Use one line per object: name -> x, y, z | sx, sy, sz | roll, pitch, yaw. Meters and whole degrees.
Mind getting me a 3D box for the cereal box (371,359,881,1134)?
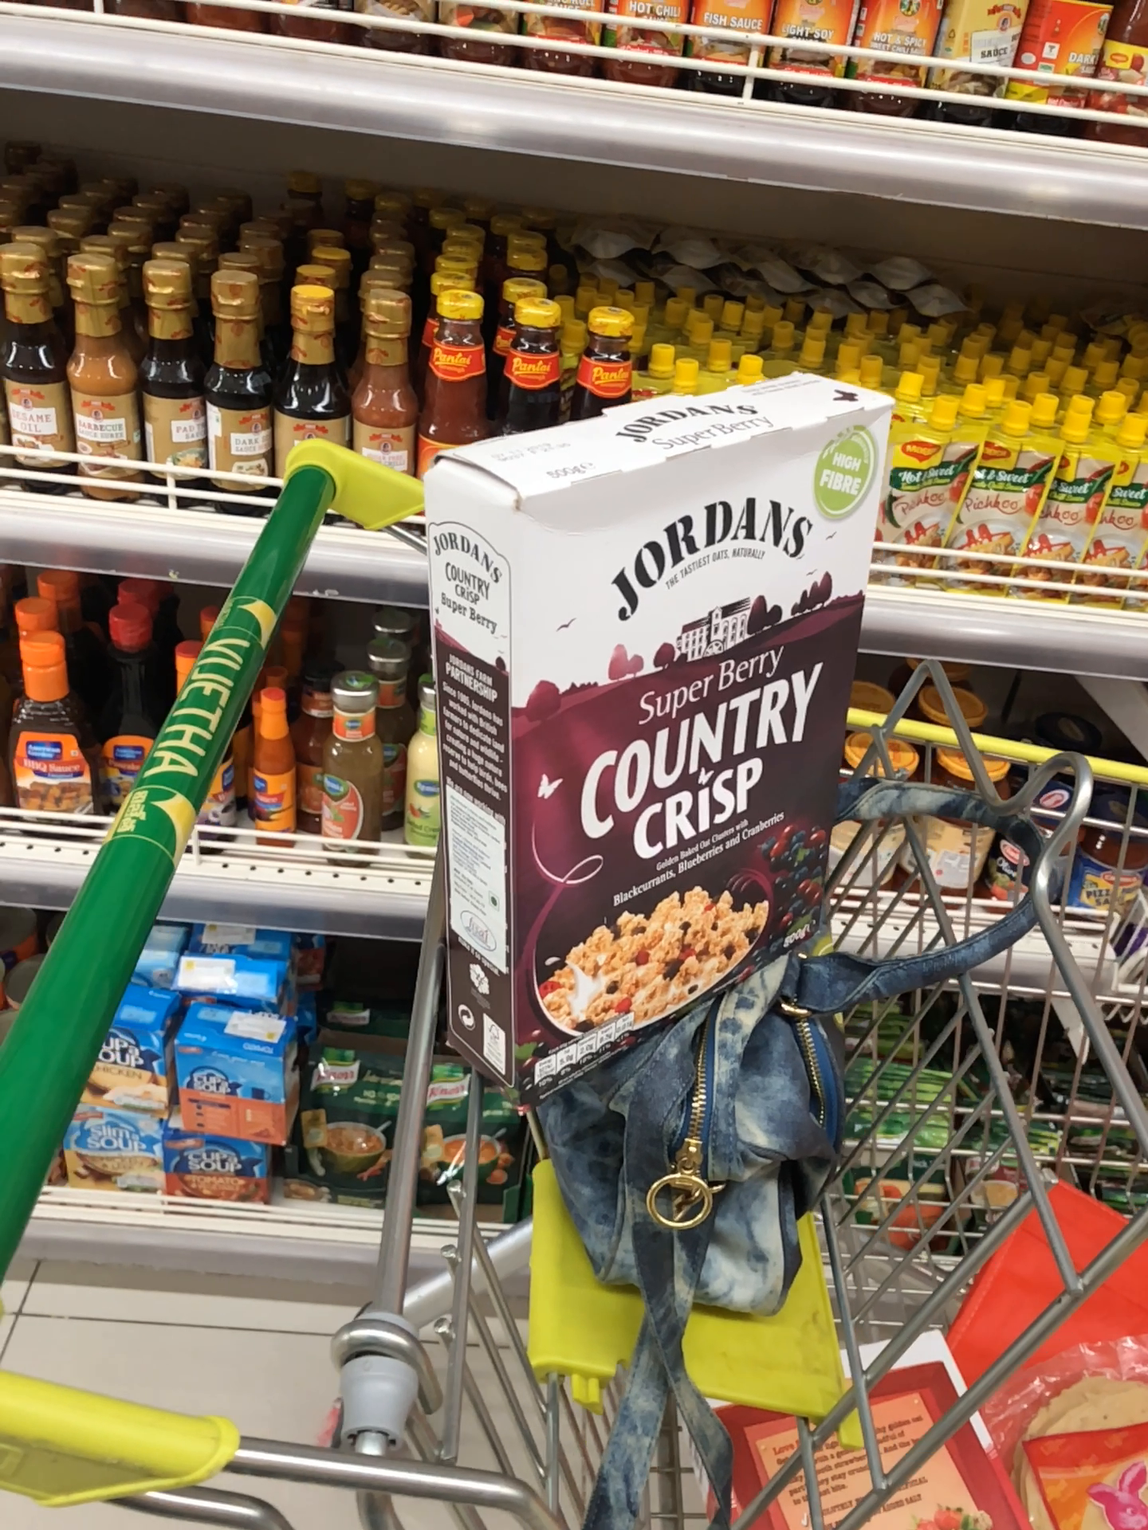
cereal box -> 0.020, -0.011, 0.454 | 0.050, 0.229, 0.180 | 28, 38, 37
